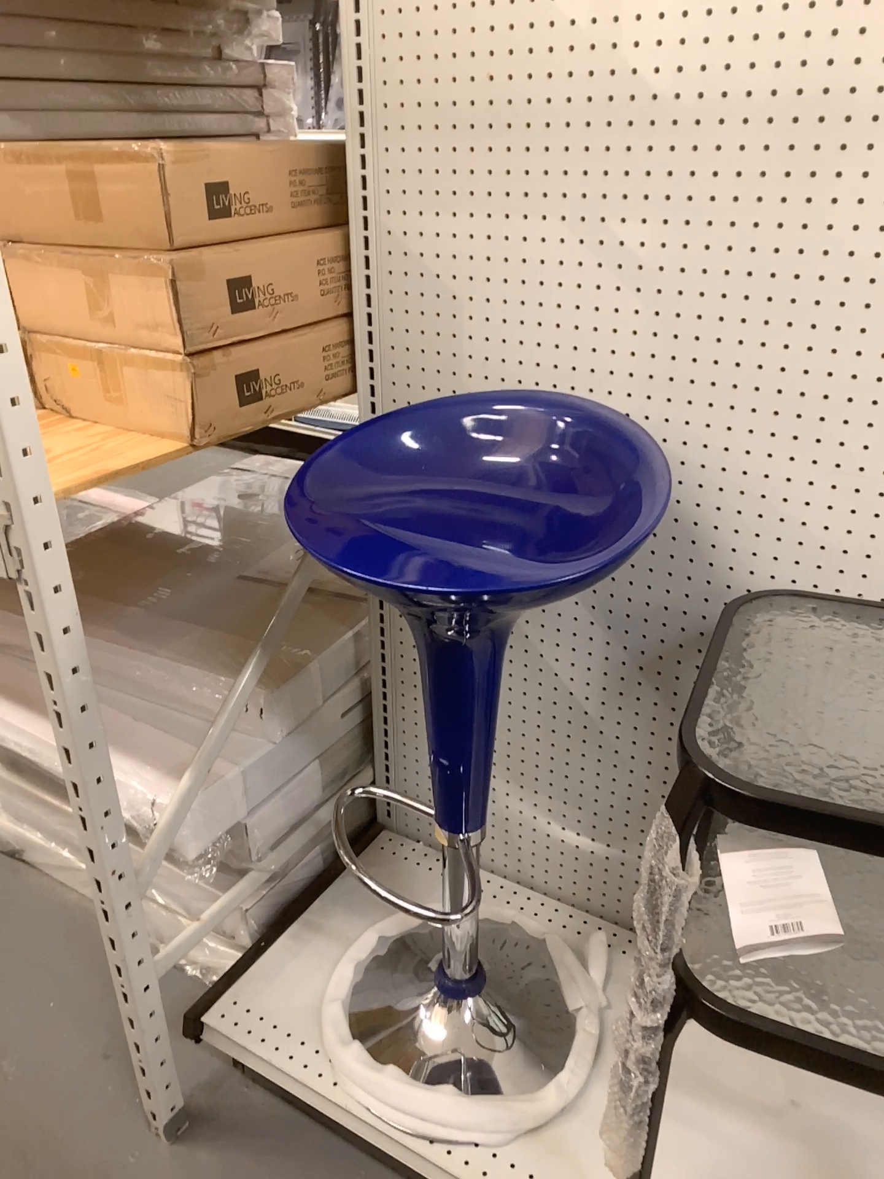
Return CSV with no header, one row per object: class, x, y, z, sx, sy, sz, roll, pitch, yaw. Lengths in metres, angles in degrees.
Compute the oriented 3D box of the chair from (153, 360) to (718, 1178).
chair,0.016,0.207,1.114,0.435,0.852,0.419,14,29,27
